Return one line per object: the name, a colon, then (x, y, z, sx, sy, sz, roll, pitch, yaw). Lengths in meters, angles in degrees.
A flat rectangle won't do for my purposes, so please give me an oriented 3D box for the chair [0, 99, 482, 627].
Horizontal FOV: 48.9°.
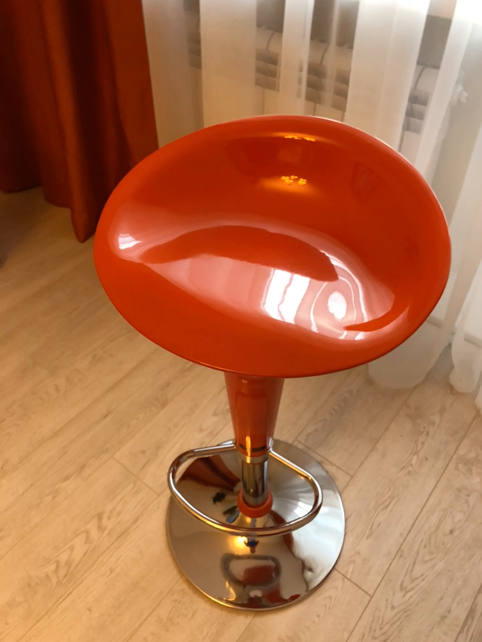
chair: (0.006, 0.110, 0.826, 0.410, 0.725, 0.423, 3, 44, 4)
